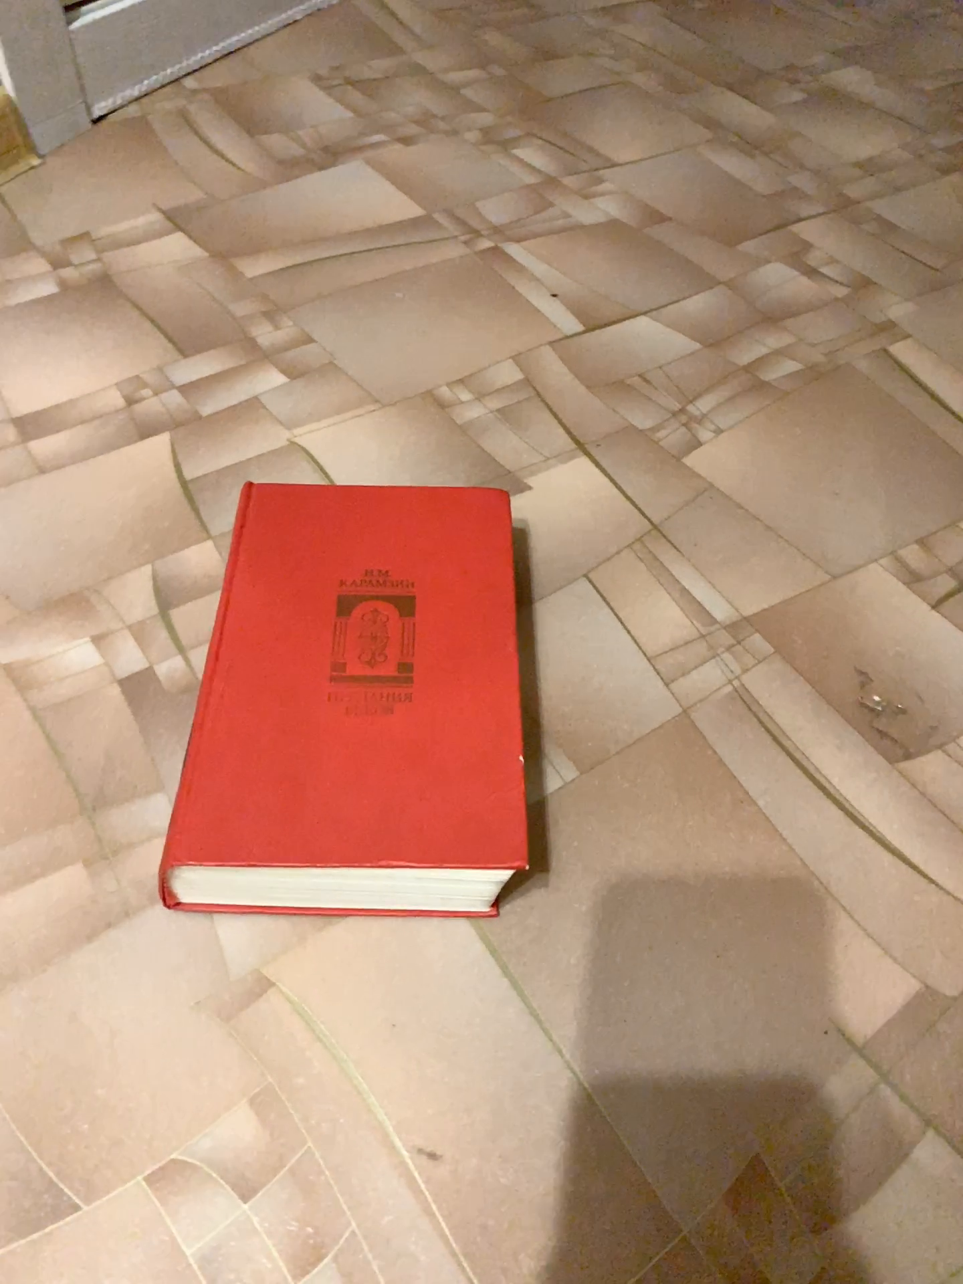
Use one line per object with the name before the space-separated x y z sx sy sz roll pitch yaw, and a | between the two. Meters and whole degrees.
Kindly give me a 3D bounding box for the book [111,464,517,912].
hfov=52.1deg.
book | -0.057 0.010 0.422 0.140 0.050 0.202 0 51 1
